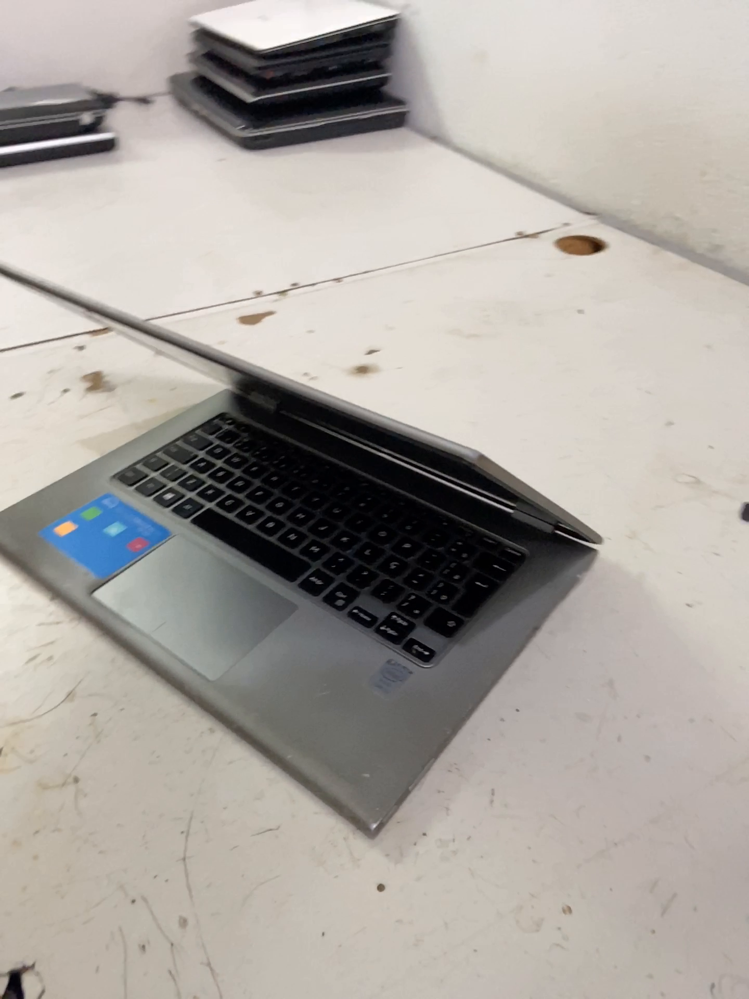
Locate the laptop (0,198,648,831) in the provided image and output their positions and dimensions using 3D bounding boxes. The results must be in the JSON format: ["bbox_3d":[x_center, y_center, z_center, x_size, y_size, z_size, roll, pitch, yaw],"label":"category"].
[{"bbox_3d":[-0.065,-0.033,0.427,0.327,0.155,0.219,25,46,30],"label":"laptop"}]
